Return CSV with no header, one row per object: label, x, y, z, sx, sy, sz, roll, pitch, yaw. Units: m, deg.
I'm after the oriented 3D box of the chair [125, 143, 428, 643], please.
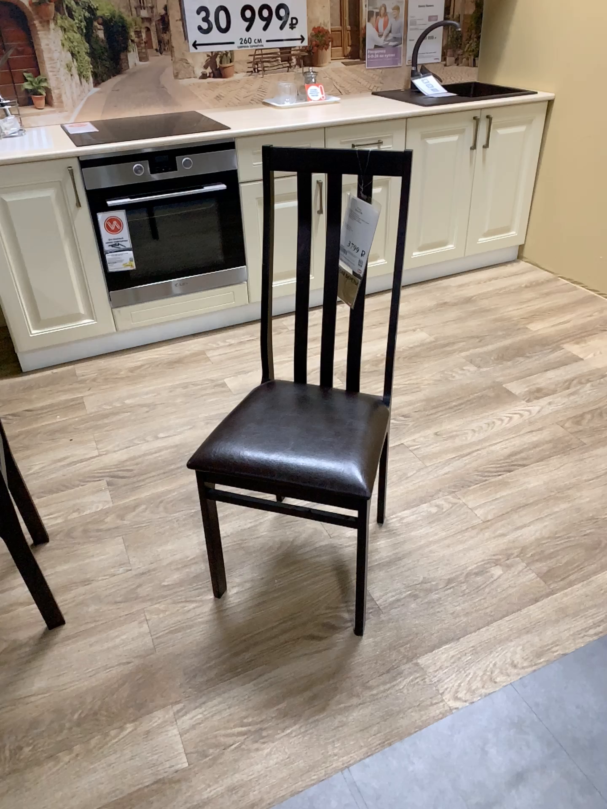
chair,0.002,-0.022,1.419,0.420,0.985,0.493,8,34,16
